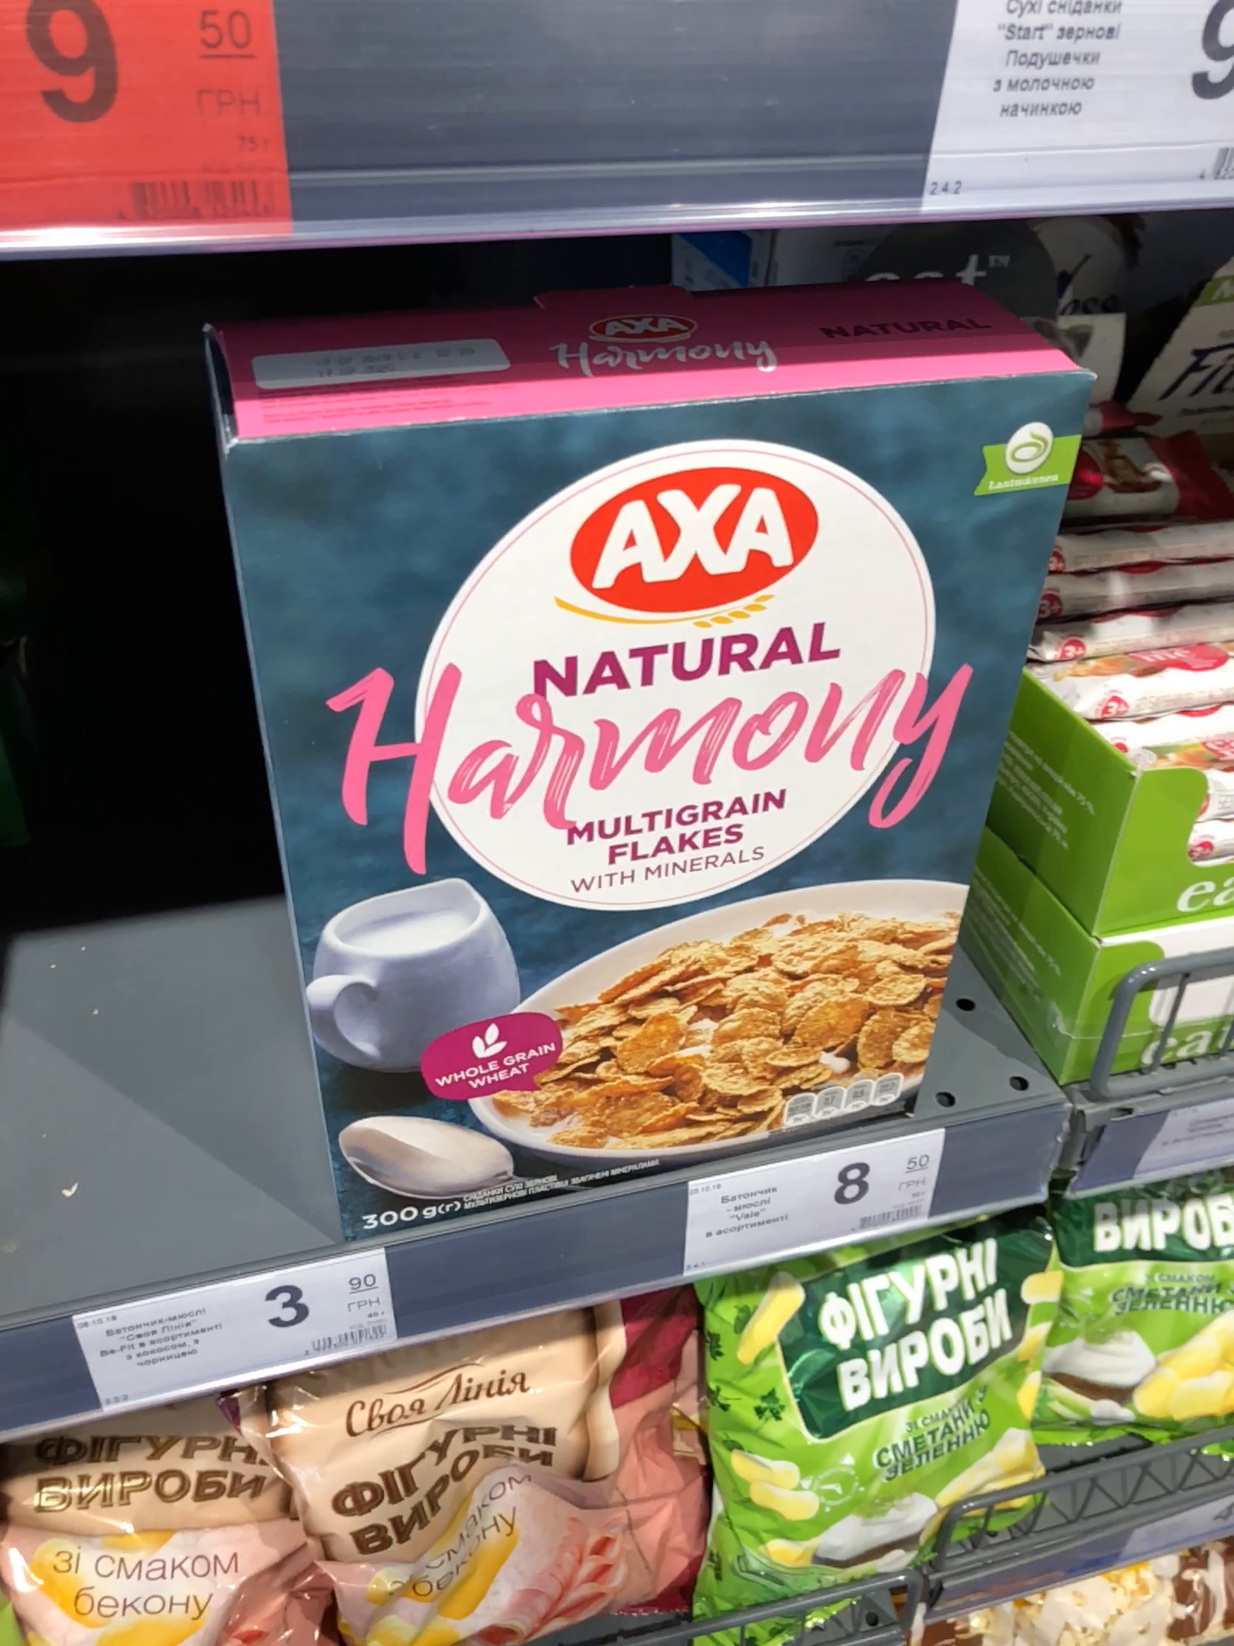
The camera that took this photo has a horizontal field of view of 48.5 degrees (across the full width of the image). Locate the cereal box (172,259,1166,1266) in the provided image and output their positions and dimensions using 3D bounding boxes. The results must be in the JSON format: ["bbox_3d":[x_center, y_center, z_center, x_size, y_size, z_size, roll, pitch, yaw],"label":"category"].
[{"bbox_3d":[0.006,-0.008,0.333,0.180,0.218,0.071,-9,40,-14],"label":"cereal box"}]
